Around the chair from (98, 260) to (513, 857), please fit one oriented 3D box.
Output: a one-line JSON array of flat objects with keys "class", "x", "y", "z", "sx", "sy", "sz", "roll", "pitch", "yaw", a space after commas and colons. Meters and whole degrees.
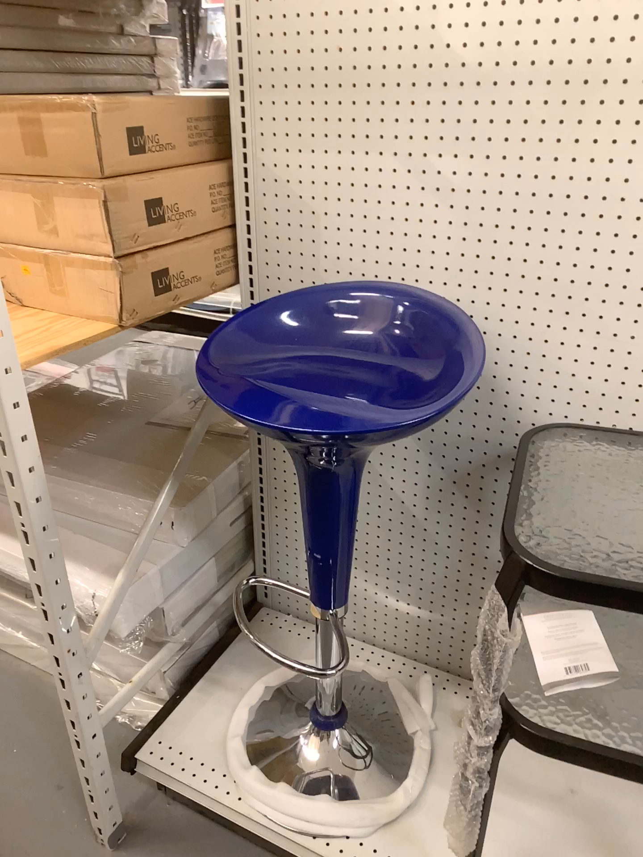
[{"class": "chair", "x": 0.004, "y": 0.209, "z": 1.095, "sx": 0.434, "sy": 0.853, "sz": 0.419, "roll": 12, "pitch": 28, "yaw": 24}]
